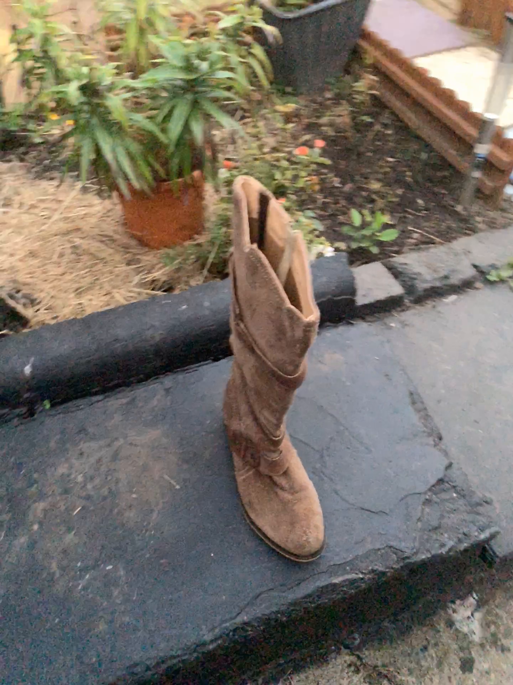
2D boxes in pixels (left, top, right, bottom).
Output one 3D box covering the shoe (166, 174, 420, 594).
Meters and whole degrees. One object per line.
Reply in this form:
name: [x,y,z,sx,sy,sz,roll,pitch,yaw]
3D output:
shoe: [0.013,0.068,0.563,0.100,0.377,0.272,-17,54,-13]
